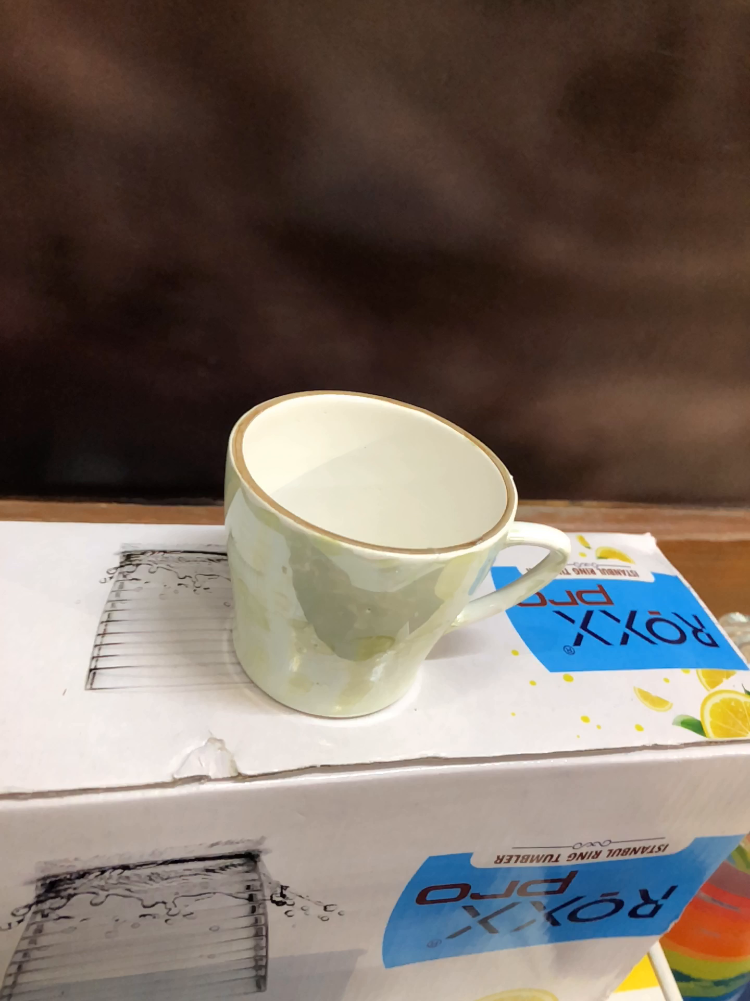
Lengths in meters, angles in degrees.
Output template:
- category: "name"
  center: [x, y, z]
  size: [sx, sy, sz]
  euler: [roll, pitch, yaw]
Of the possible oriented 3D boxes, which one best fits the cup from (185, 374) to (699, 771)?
- category: "cup"
  center: [0.010, 0.015, 0.213]
  size: [0.100, 0.060, 0.070]
  euler: [1, 38, -21]
